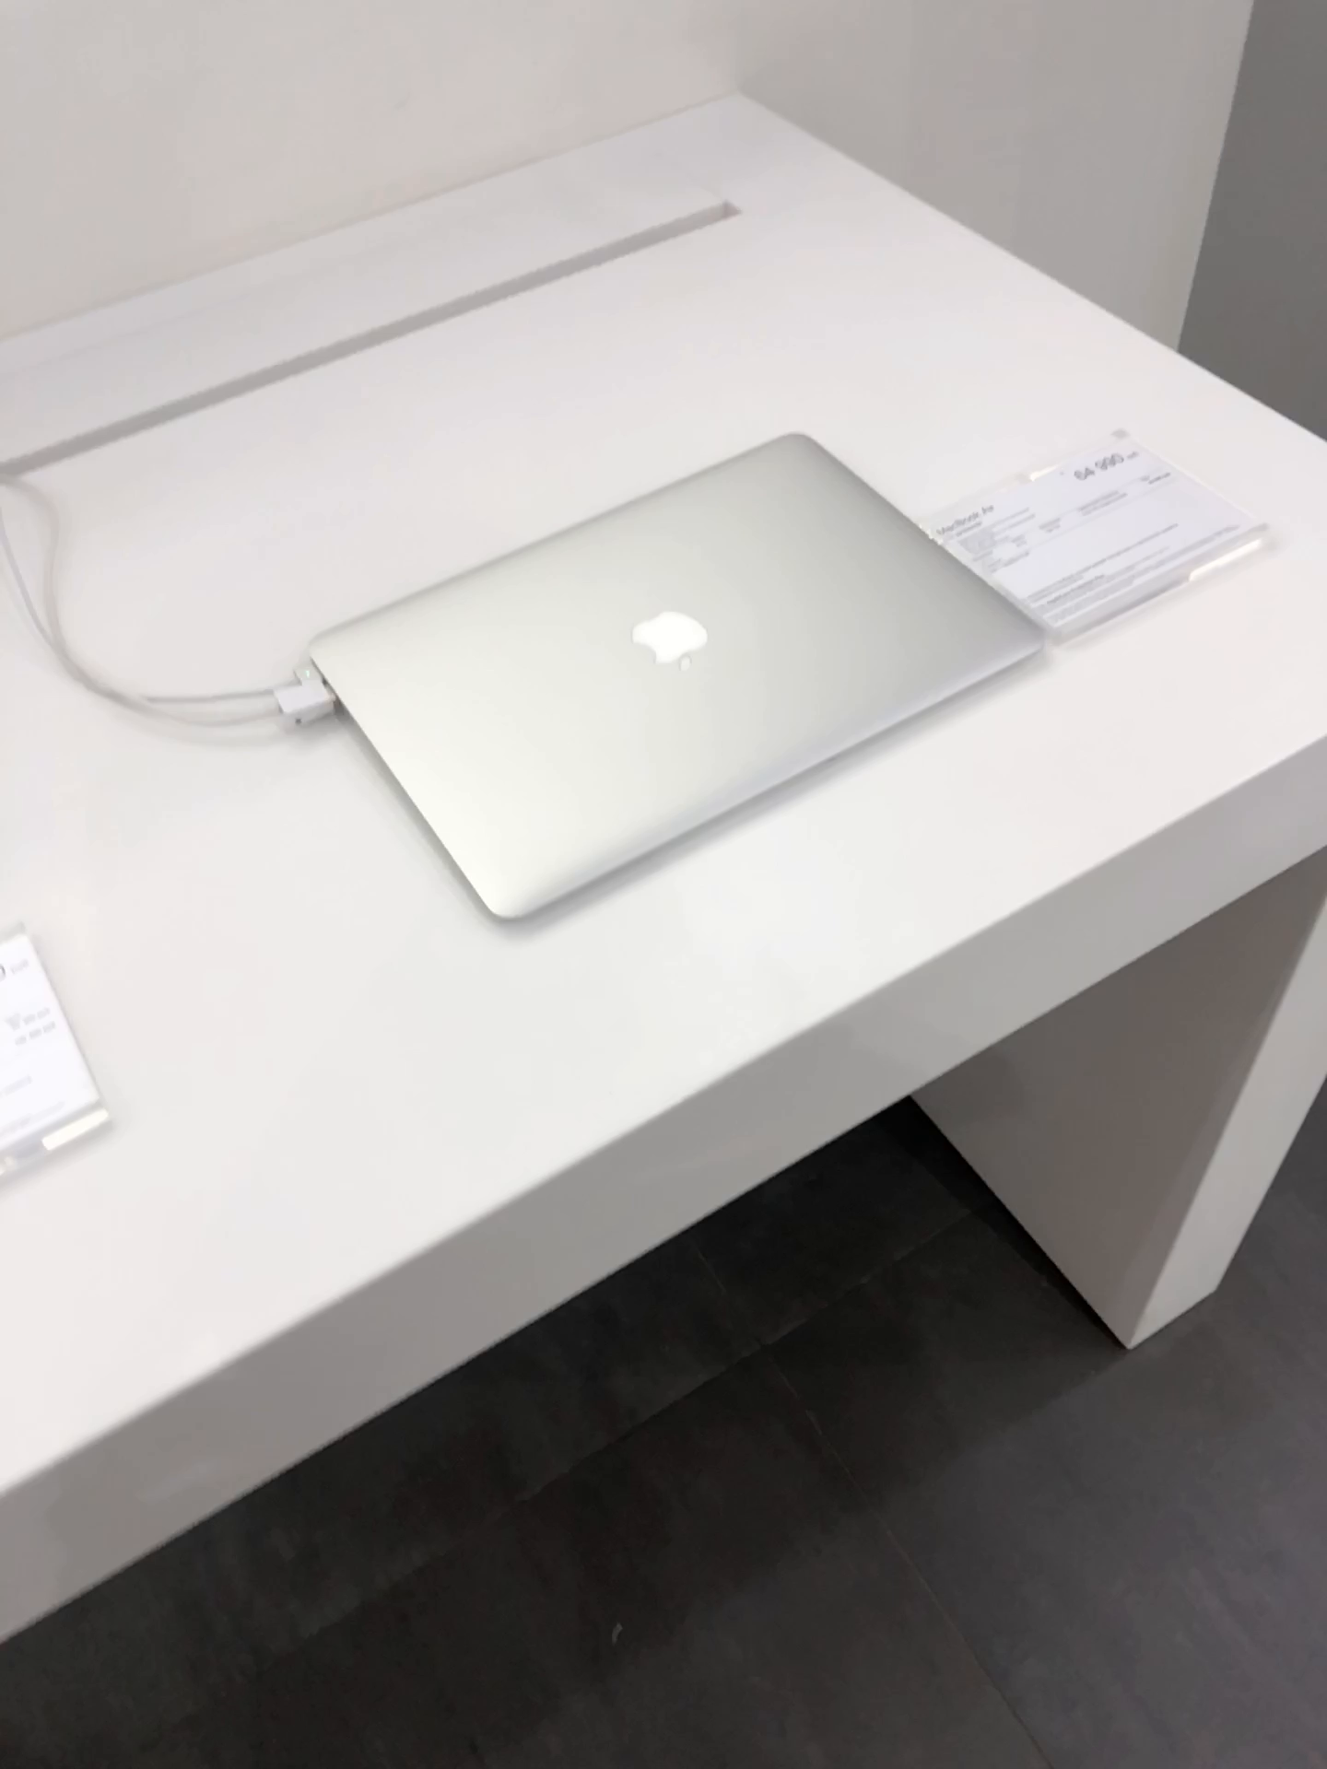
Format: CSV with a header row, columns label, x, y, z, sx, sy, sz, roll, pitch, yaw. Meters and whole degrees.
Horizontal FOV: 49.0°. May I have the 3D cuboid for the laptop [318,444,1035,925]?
label,x,y,z,sx,sy,sz,roll,pitch,yaw
laptop,0.004,-0.120,0.756,0.307,0.008,0.210,-27,55,-17
